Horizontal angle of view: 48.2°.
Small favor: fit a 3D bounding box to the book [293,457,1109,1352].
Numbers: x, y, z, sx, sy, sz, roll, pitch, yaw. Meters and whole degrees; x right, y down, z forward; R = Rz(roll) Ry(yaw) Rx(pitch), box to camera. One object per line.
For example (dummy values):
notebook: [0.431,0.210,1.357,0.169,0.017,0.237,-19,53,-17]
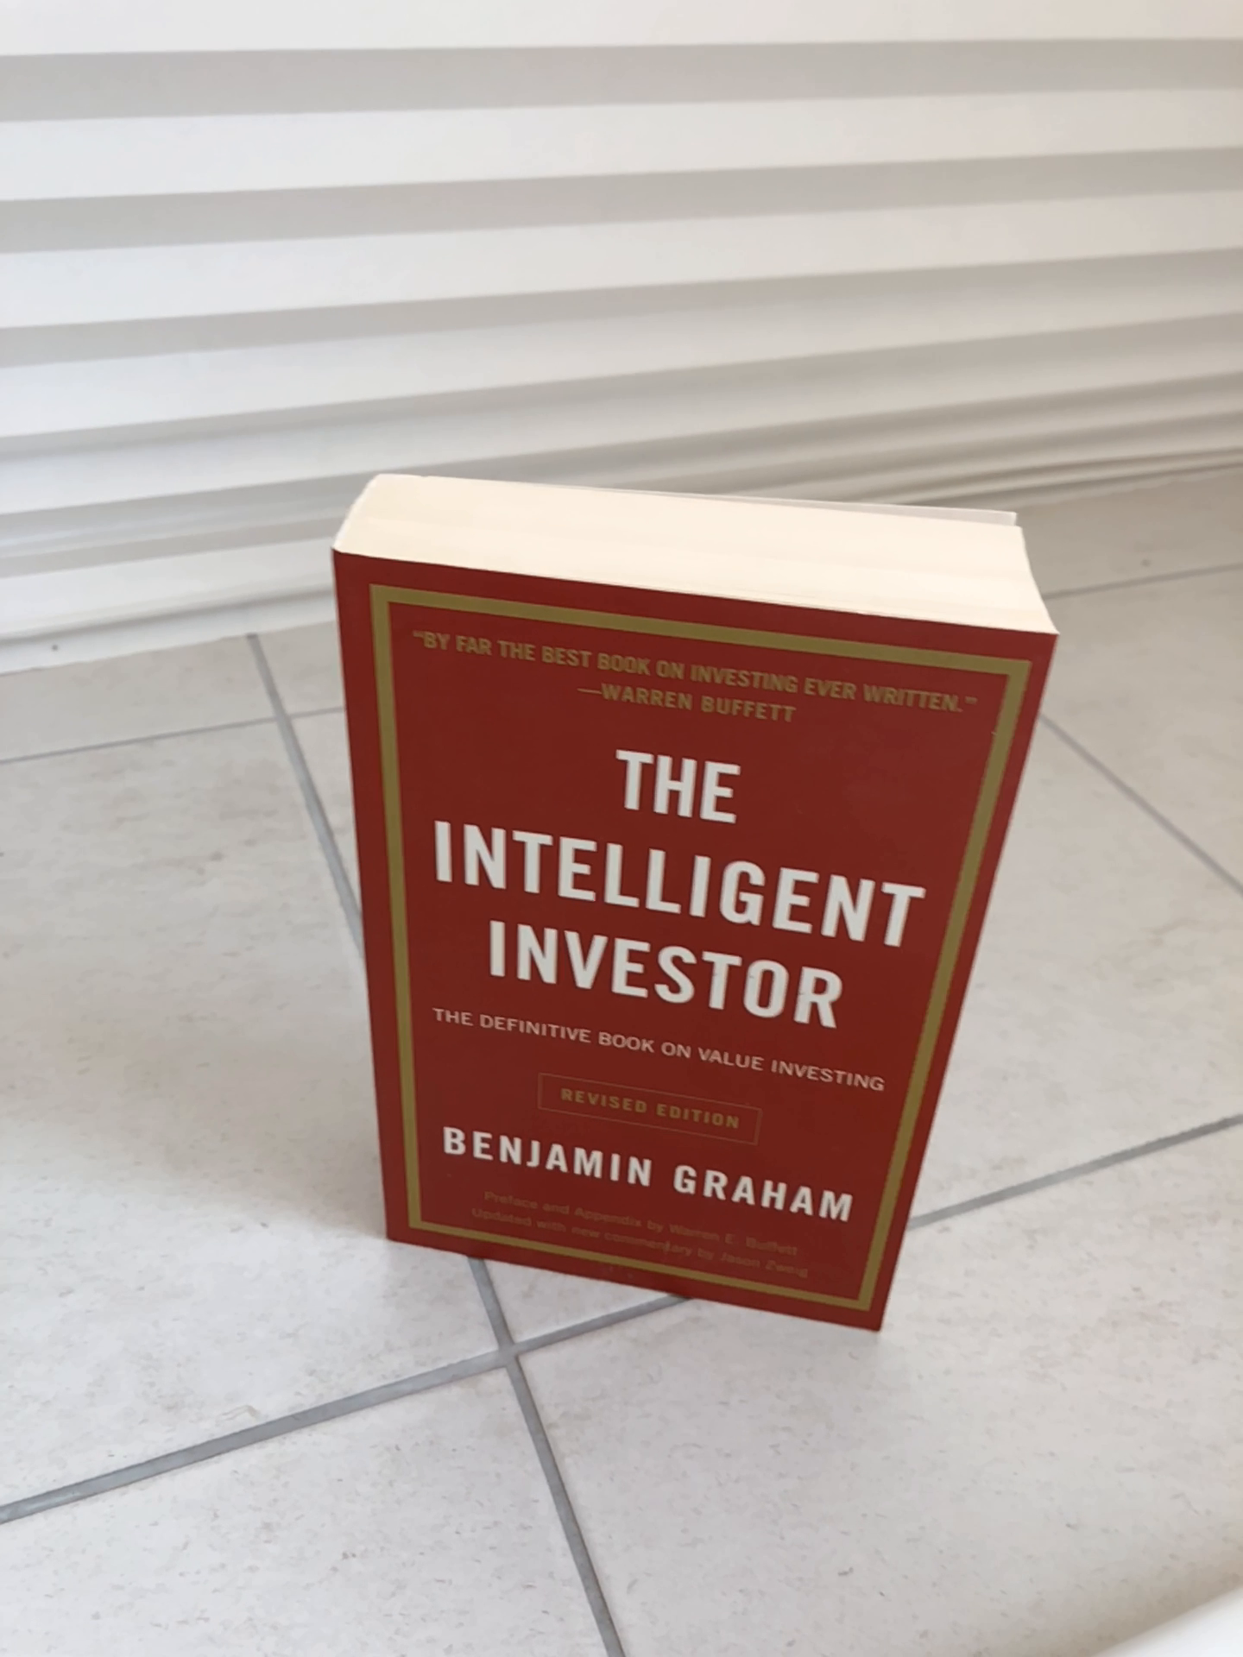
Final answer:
book: [0.013,0.027,0.334,0.149,0.206,0.057,7,36,6]
